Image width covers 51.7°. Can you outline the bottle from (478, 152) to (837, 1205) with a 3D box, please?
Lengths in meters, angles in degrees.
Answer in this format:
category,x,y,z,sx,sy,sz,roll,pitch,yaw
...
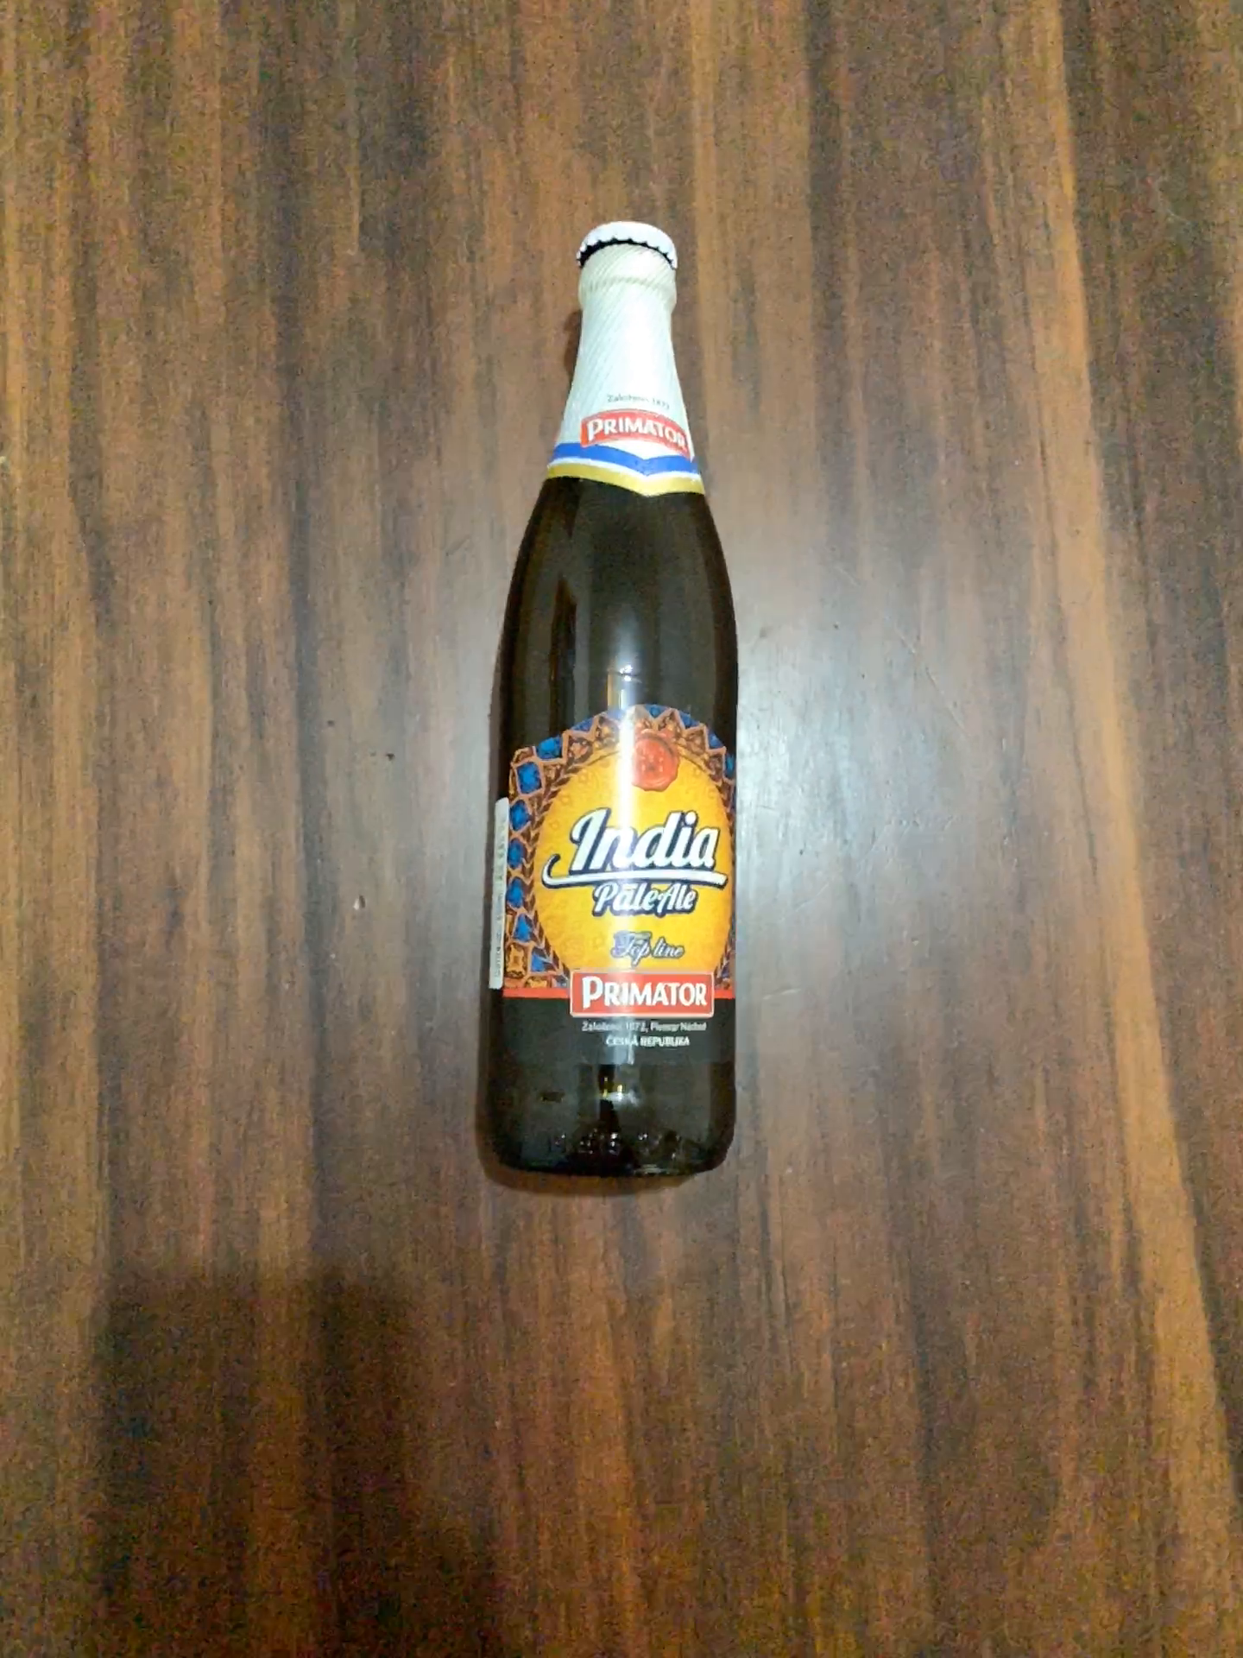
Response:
category,x,y,z,sx,sy,sz,roll,pitch,yaw
bottle,0.007,-0.038,0.347,0.080,0.060,0.260,2,82,-13
